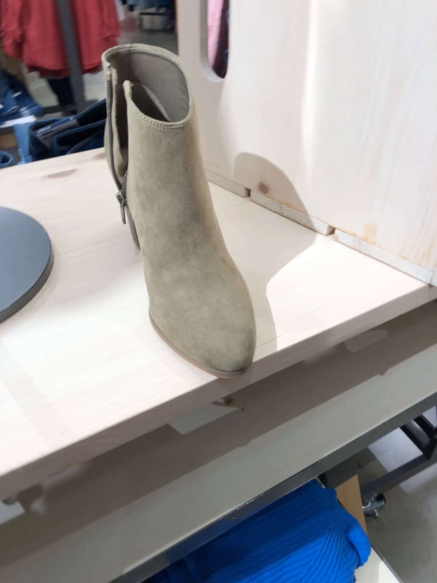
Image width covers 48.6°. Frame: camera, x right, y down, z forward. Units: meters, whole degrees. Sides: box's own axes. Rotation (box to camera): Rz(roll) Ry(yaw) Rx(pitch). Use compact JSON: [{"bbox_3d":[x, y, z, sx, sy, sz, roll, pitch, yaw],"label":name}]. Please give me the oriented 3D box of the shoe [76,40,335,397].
[{"bbox_3d":[-0.028,-0.072,0.375,0.090,0.169,0.231,-15,42,-18],"label":"shoe"}]
